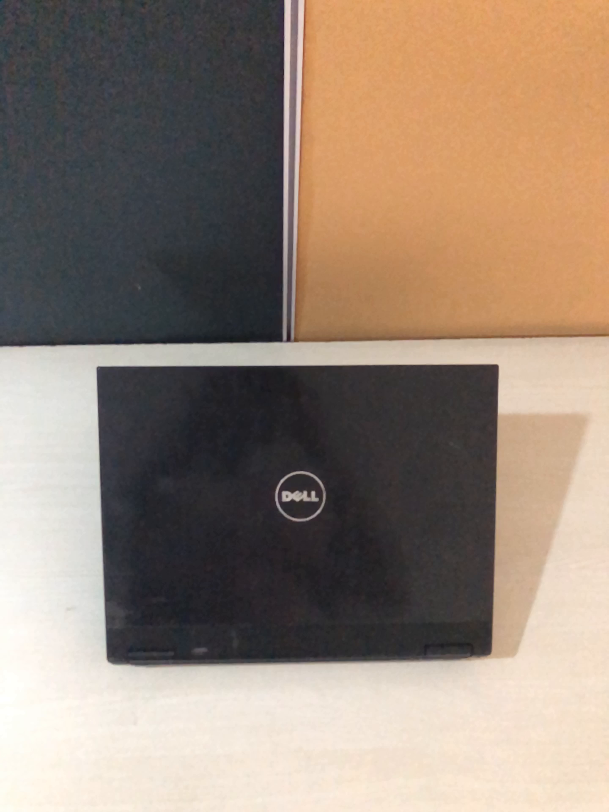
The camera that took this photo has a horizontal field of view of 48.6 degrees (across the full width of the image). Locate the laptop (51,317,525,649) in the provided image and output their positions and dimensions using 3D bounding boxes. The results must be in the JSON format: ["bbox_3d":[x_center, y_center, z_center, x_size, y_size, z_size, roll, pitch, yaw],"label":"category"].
[{"bbox_3d":[-0.013,0.062,0.535,0.302,0.127,0.225,-1,64,-2],"label":"laptop"}]
